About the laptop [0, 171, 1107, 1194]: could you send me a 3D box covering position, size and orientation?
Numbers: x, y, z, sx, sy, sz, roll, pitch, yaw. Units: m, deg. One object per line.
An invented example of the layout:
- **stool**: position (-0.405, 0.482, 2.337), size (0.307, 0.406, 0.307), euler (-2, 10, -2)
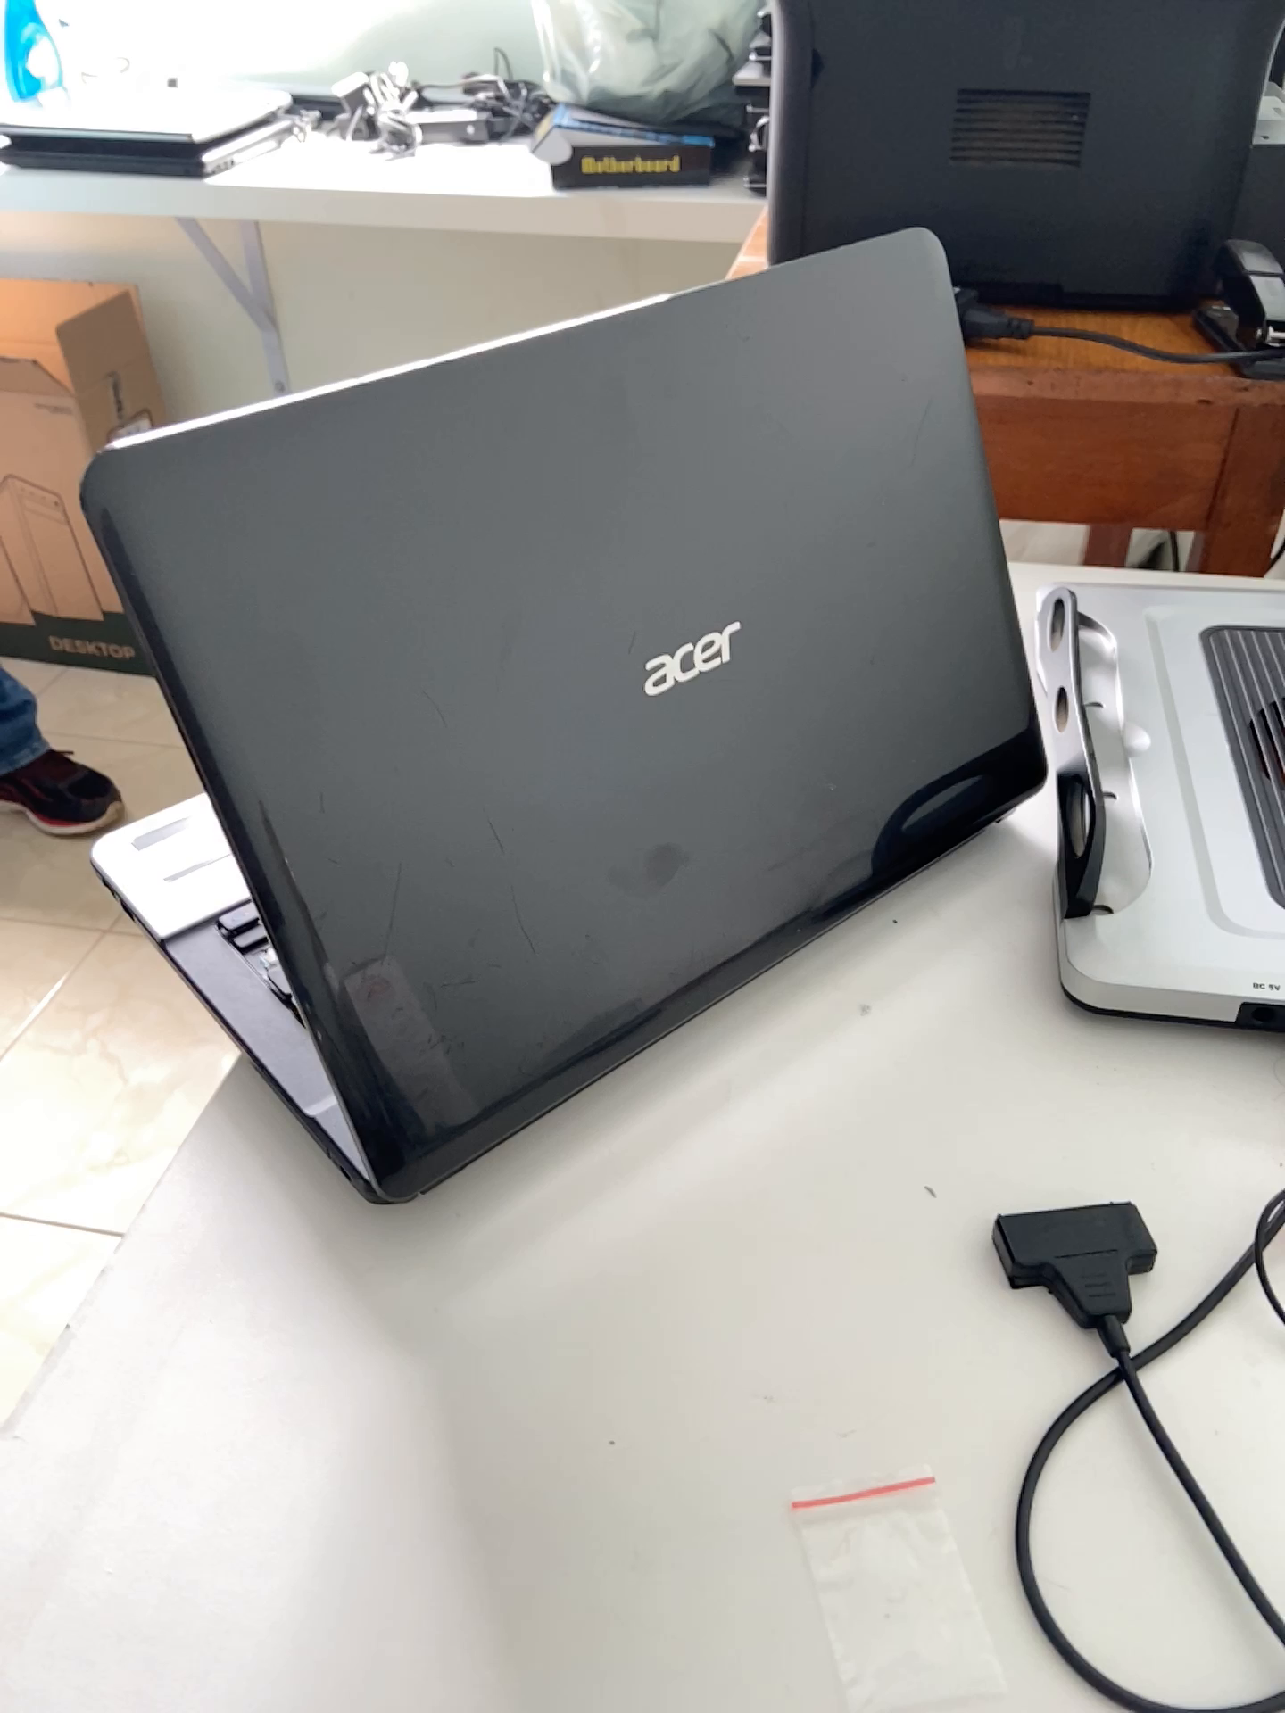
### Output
- **laptop**: position (-0.041, -0.101, 0.505), size (0.328, 0.211, 0.239), euler (-28, 45, -30)
